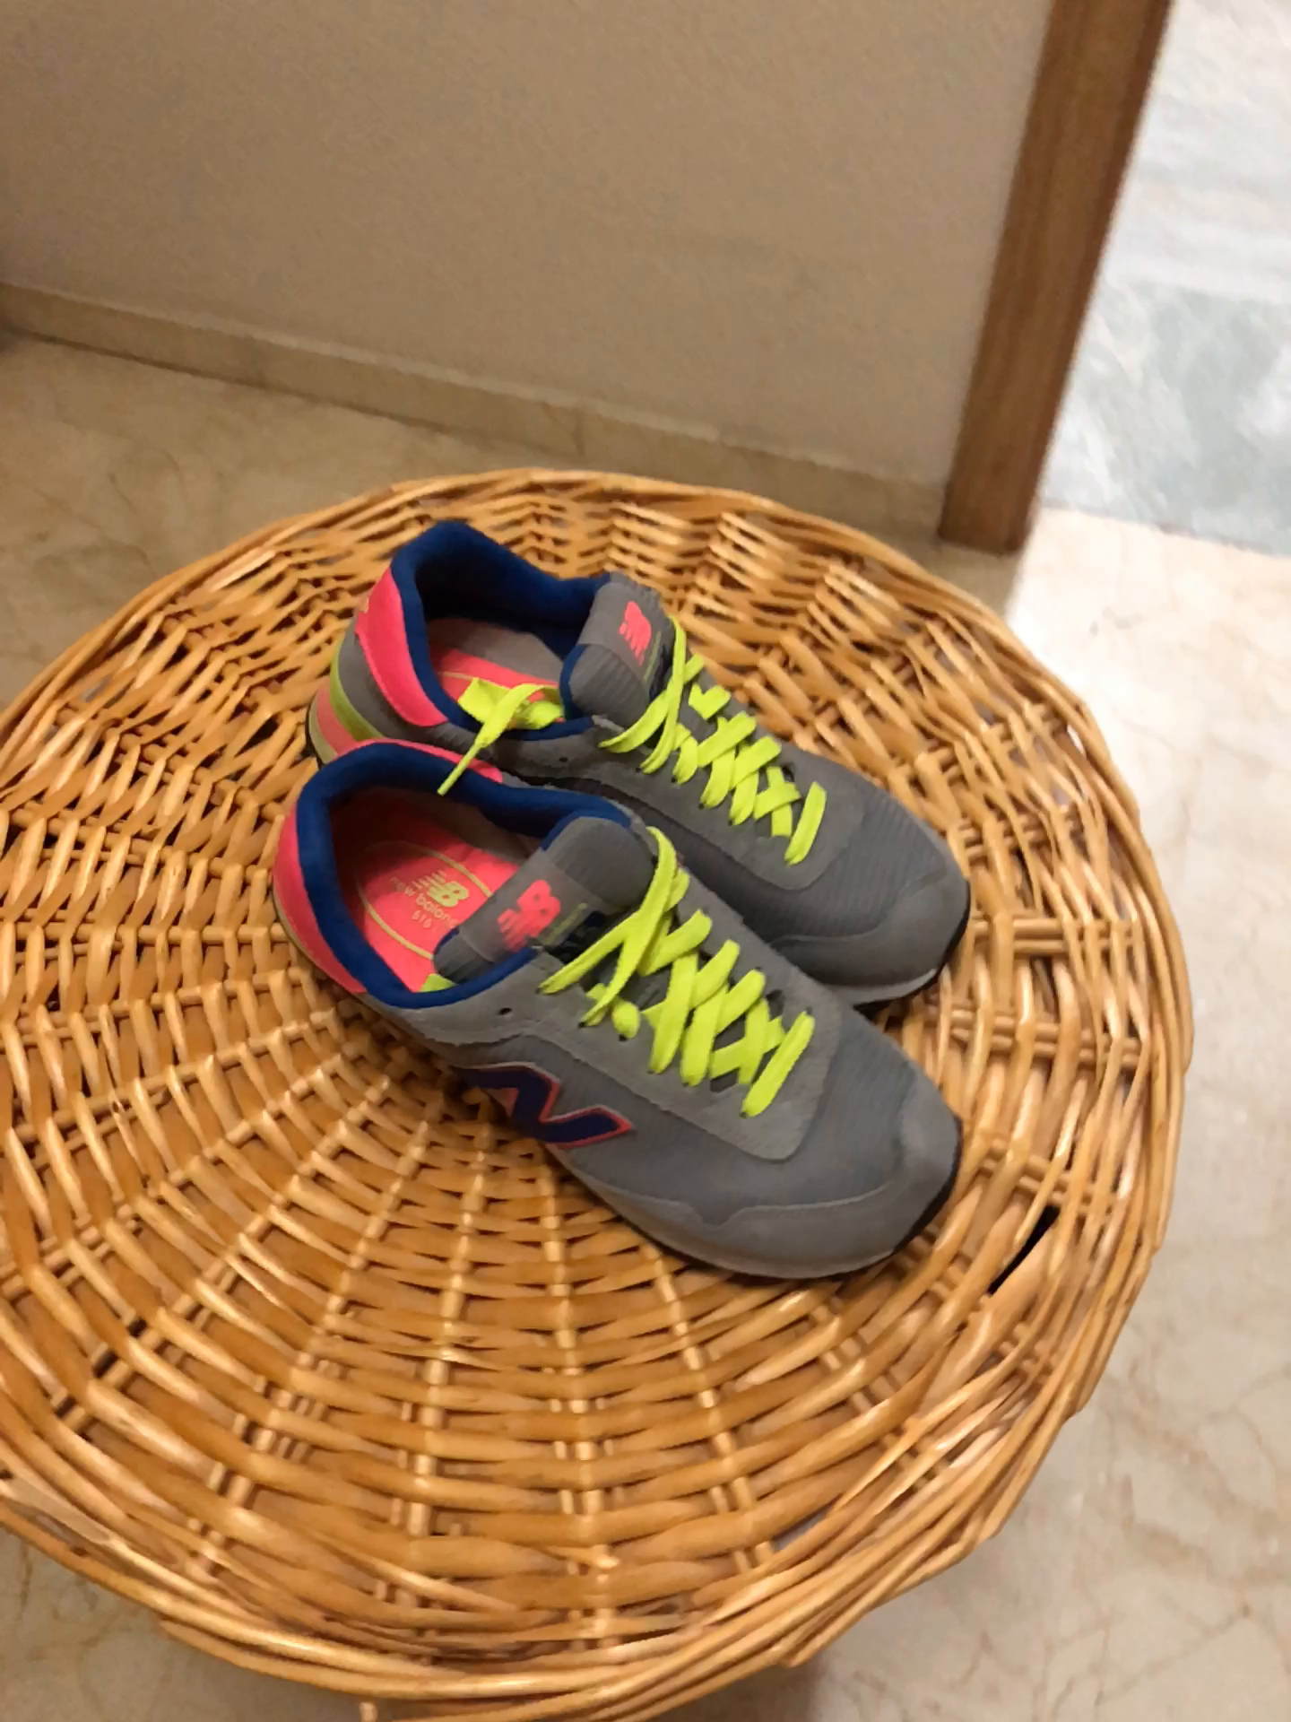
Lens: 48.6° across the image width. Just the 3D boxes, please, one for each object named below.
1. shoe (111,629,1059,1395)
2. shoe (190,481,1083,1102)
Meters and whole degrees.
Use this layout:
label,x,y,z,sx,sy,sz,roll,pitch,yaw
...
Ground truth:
label,x,y,z,sx,sy,sz,roll,pitch,yaw
shoe,-0.021,0.044,0.457,0.260,0.110,0.100,26,63,18
shoe,-0.005,-0.029,0.519,0.280,0.110,0.100,19,56,13
